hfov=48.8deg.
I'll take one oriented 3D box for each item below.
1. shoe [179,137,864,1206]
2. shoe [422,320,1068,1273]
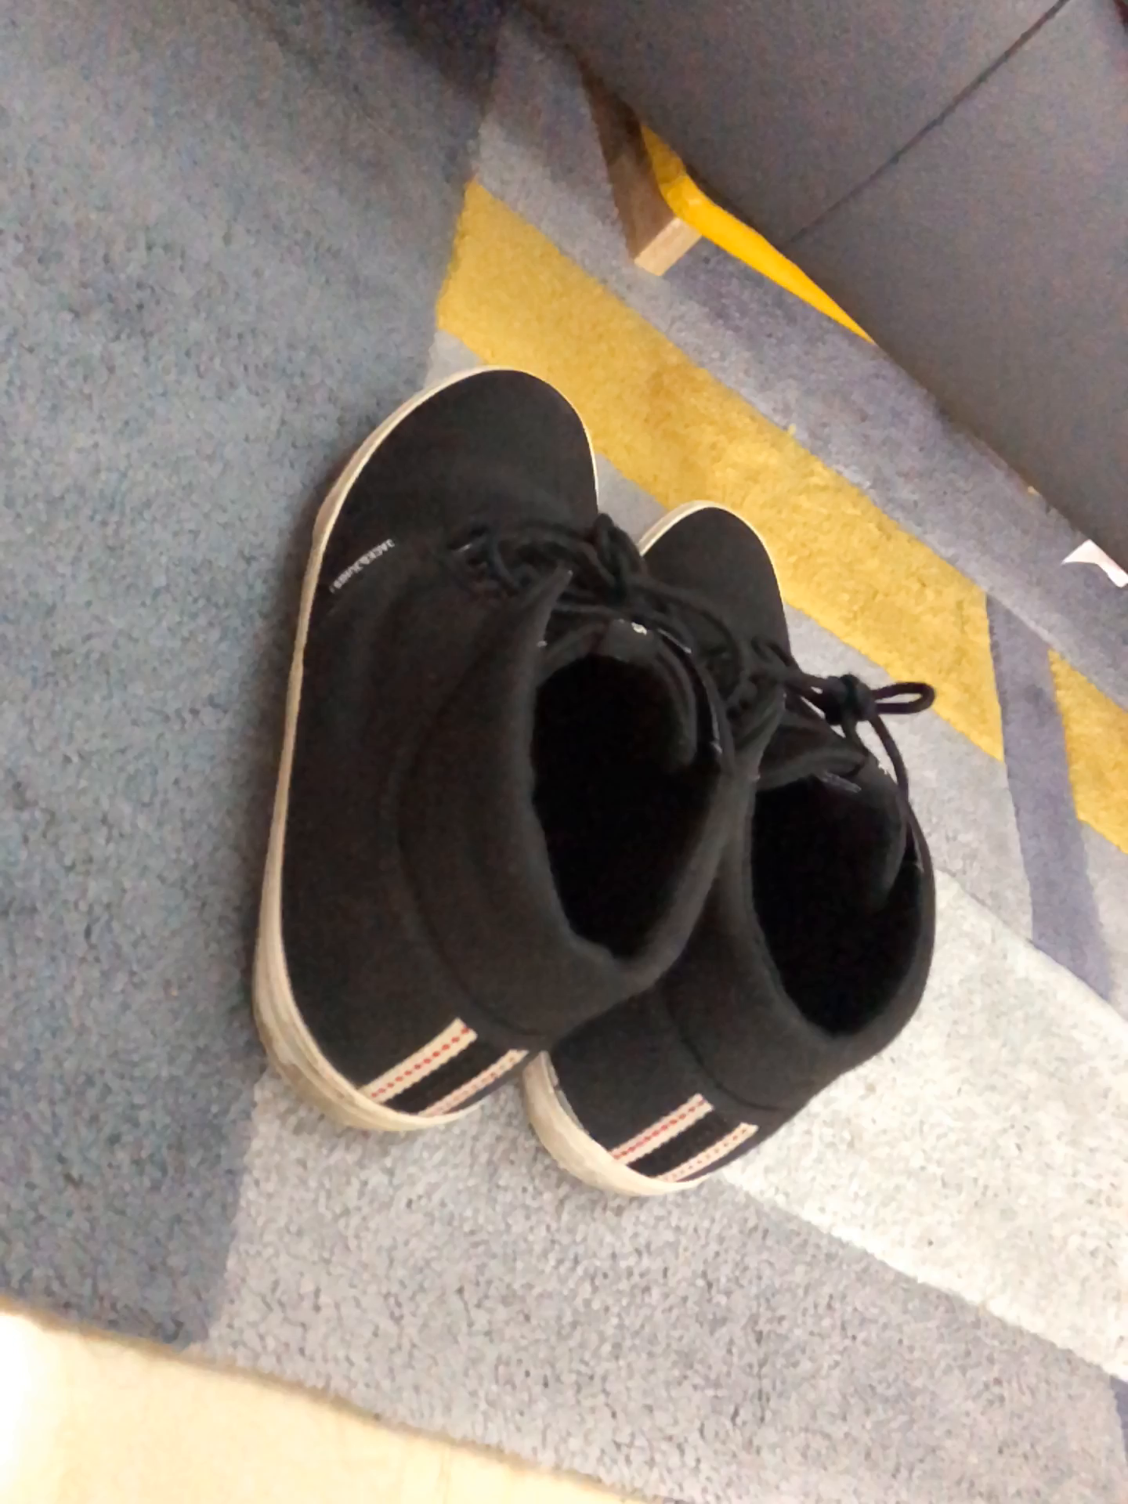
[{"bbox_3d":[-0.004,-0.034,0.365,0.110,0.109,0.282,29,46,-29],"label":"shoe"},{"bbox_3d":[0.062,0.004,0.422,0.110,0.129,0.282,34,44,-25],"label":"shoe"}]
